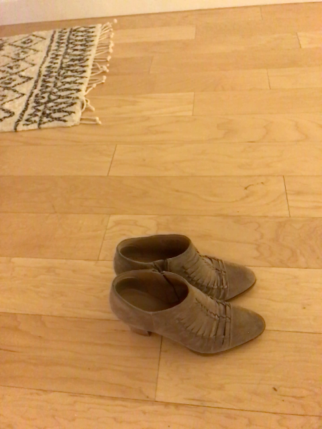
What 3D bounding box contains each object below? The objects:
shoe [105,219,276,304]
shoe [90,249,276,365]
[{"bbox_3d":[0.053,0.087,0.631,0.270,0.119,0.101,-1,50,7],"label":"shoe"},{"bbox_3d":[0.042,0.152,0.586,0.270,0.129,0.111,4,51,12],"label":"shoe"}]
